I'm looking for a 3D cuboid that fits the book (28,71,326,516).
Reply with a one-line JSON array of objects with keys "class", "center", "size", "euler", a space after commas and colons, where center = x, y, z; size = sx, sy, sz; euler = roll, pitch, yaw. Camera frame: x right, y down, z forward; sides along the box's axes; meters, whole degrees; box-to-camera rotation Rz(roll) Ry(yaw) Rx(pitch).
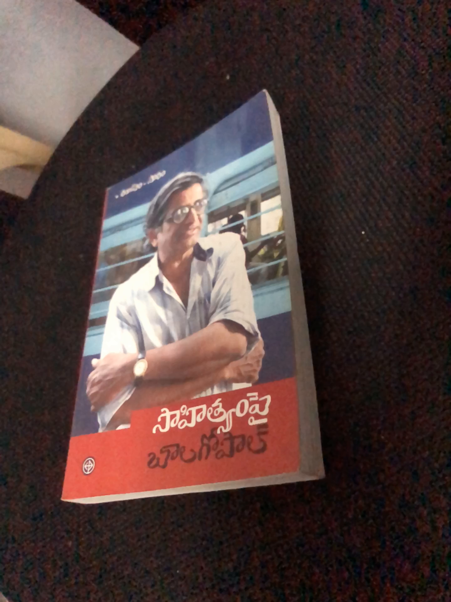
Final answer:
[{"class": "book", "center": [-0.031, -0.006, 0.284], "size": [0.152, 0.030, 0.225], "euler": [-18, 57, 30]}]
